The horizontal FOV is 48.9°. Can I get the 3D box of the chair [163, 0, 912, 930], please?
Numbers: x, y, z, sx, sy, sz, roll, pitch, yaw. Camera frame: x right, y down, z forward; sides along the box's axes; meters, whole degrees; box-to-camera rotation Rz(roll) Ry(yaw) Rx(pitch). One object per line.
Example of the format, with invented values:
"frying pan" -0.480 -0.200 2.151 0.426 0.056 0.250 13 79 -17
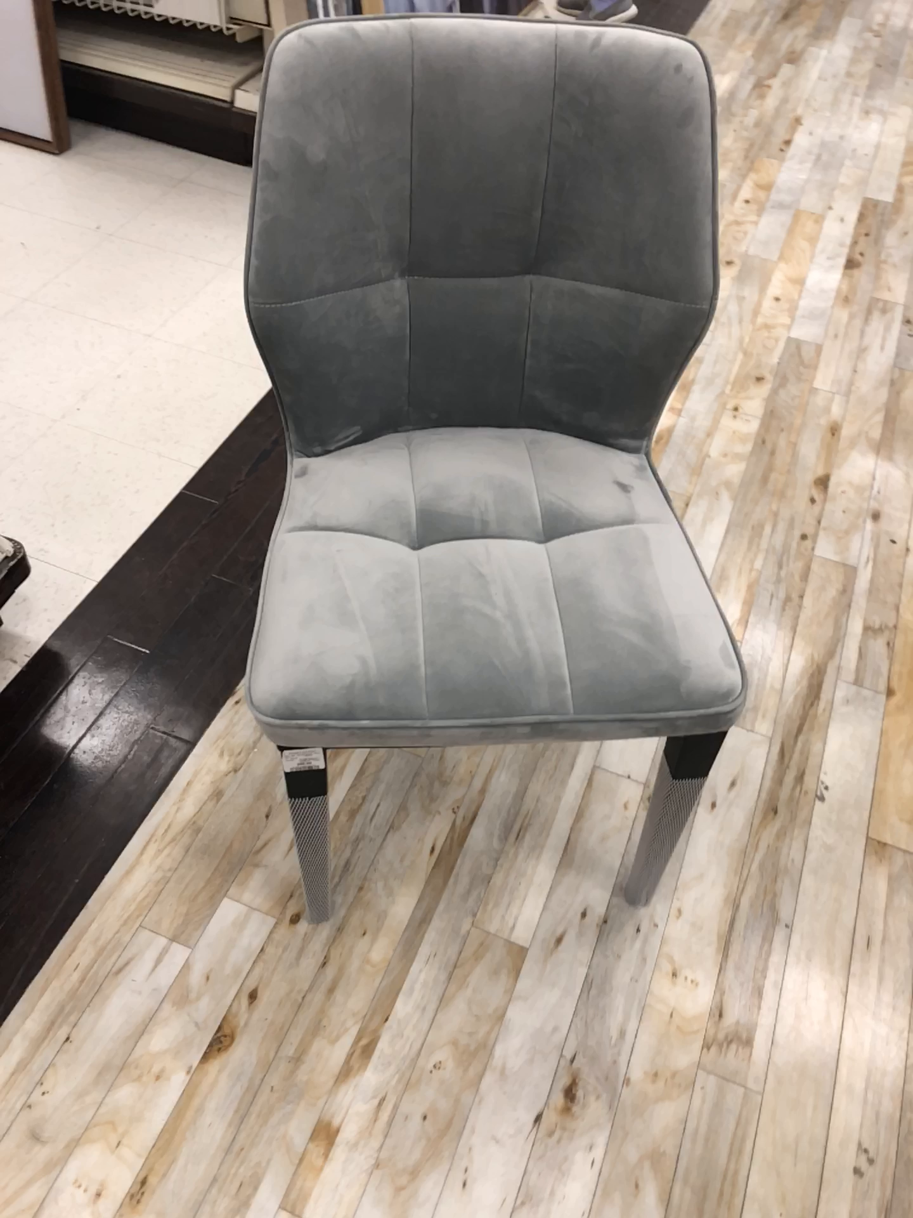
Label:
"chair" 0.045 -0.106 1.122 0.530 0.837 0.572 -1 48 -5
